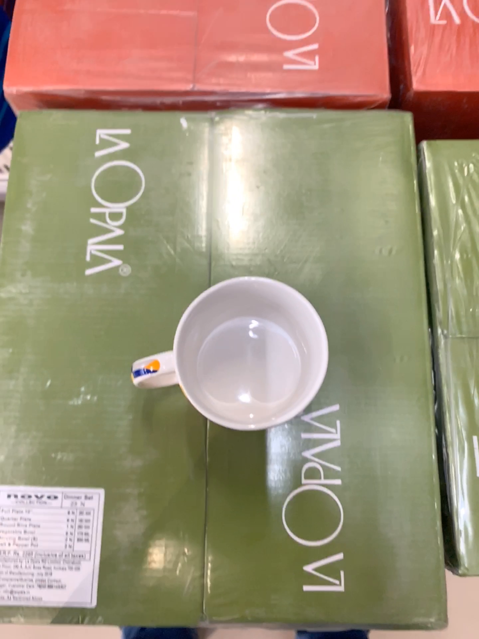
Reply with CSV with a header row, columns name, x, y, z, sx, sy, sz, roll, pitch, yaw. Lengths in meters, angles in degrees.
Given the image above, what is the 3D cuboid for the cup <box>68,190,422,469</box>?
name,x,y,z,sx,sy,sz,roll,pitch,yaw
cup,0.000,0.012,0.258,0.130,0.100,0.090,-14,77,-3
